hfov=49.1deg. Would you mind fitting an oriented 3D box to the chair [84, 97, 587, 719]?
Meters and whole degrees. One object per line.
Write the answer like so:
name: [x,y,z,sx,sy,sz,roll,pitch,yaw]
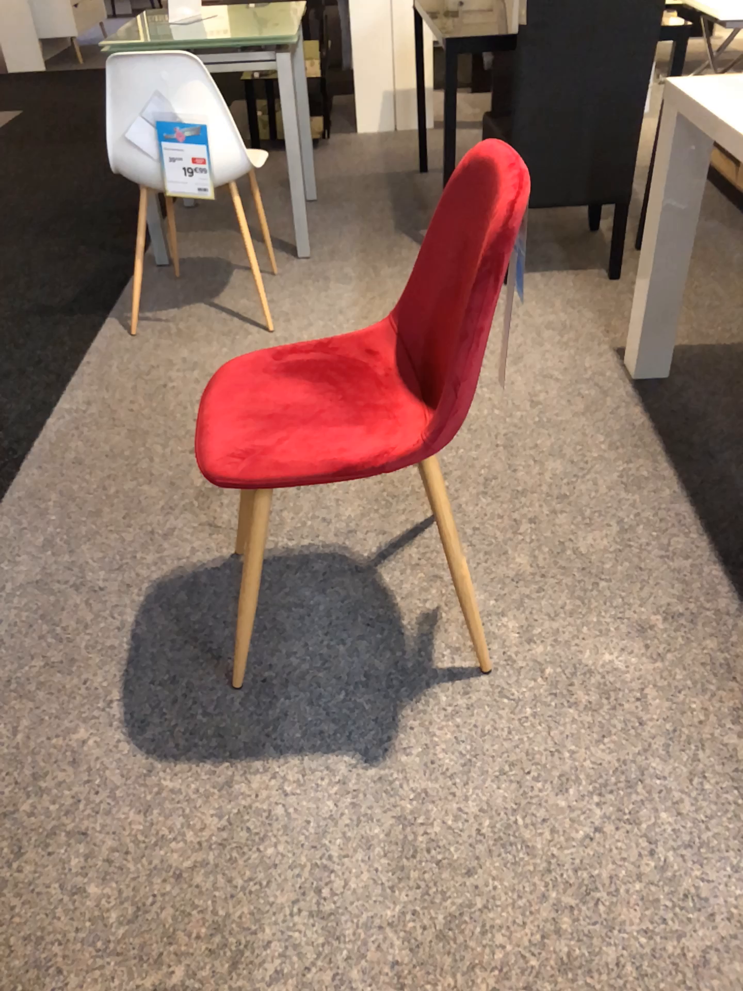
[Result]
chair: [-0.039,-0.137,1.343,0.550,0.815,0.533,-6,37,-3]
